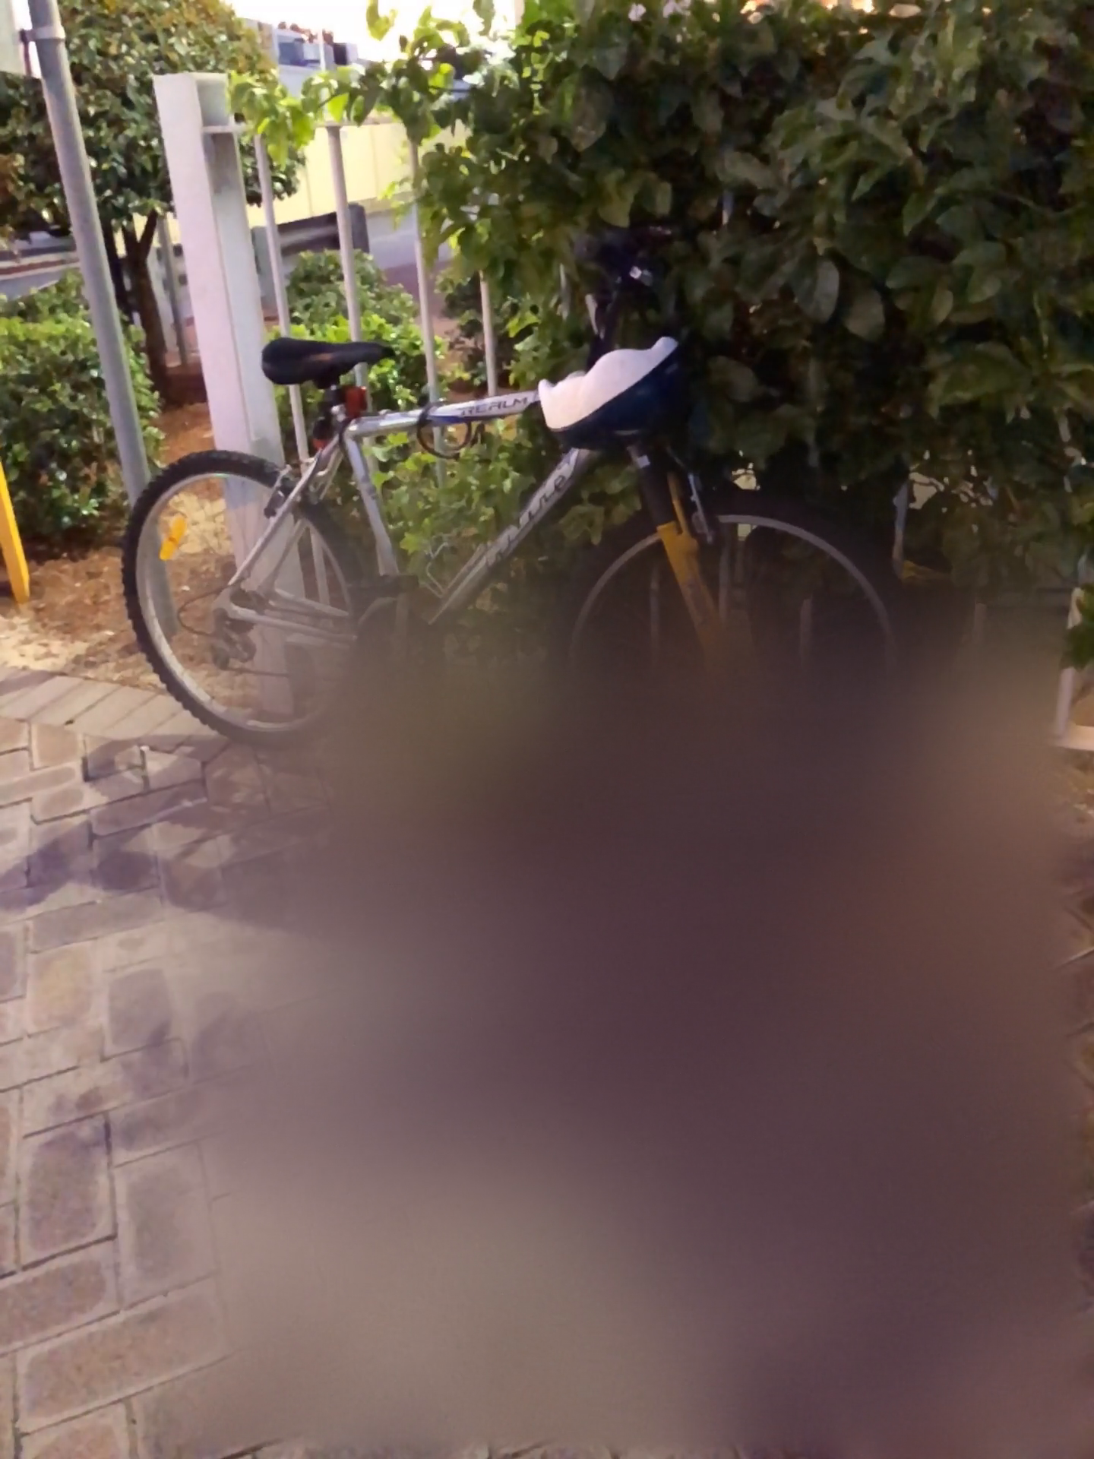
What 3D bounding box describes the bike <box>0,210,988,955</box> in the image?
[{"bbox_3d":[-0.172,-0.347,2.162,1.694,0.995,0.554,9,28,24],"label":"bike"}]
